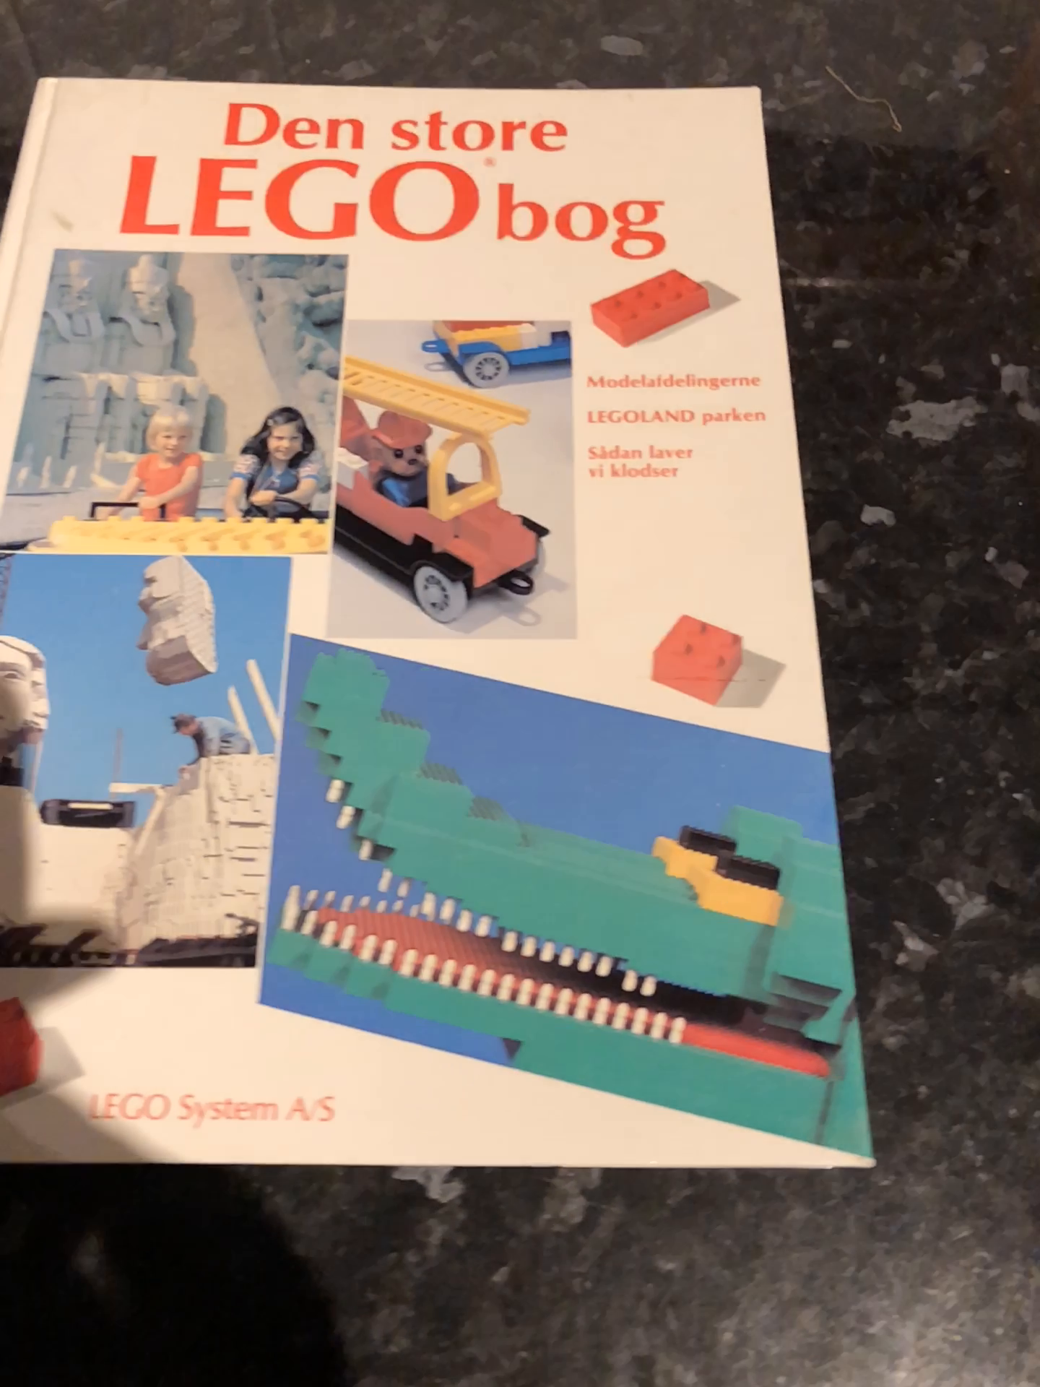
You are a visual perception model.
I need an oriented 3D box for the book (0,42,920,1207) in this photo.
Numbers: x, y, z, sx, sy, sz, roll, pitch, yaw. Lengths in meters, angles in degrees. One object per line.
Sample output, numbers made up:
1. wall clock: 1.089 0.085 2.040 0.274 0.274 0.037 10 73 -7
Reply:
1. book: -0.032 -0.038 0.275 0.210 0.030 0.291 1 67 -1
